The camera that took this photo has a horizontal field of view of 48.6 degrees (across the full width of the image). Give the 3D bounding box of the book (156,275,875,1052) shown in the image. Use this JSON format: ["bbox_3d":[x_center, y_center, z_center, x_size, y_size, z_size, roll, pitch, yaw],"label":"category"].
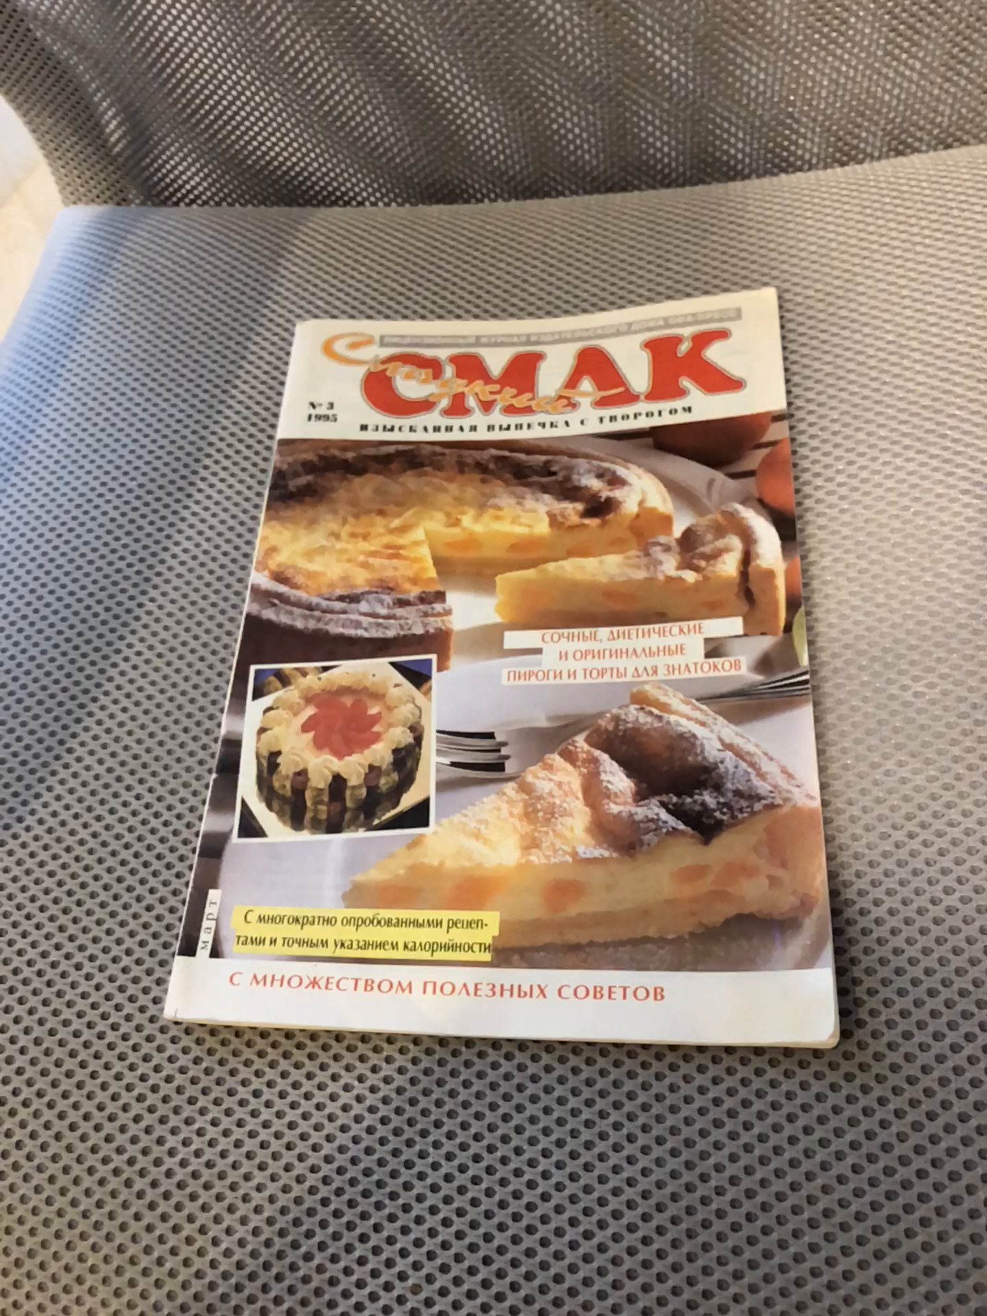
[{"bbox_3d":[0.007,-0.012,0.315,0.174,0.010,0.232,-2,63,11],"label":"book"}]
